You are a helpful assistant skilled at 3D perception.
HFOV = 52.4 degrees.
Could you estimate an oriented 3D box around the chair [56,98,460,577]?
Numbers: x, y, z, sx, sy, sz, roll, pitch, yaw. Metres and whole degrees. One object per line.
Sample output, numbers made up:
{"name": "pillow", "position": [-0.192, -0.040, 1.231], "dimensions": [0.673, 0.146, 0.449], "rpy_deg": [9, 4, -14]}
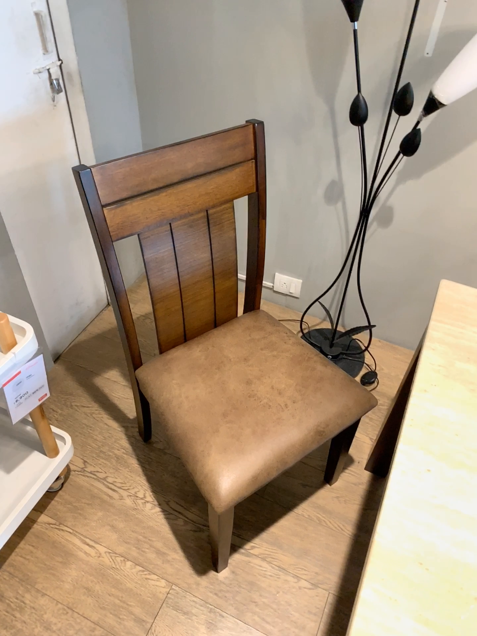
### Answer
{"name": "chair", "position": [0.001, 0.092, 1.240], "dimensions": [0.511, 0.996, 0.551], "rpy_deg": [-27, 52, -27]}
